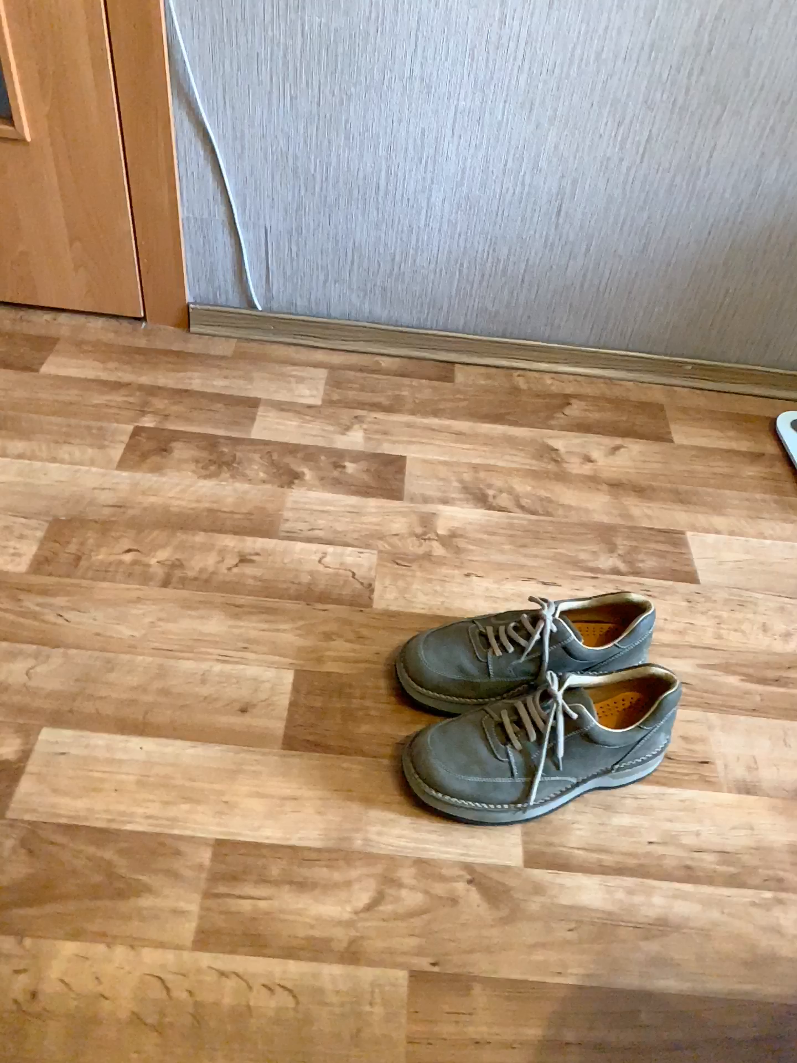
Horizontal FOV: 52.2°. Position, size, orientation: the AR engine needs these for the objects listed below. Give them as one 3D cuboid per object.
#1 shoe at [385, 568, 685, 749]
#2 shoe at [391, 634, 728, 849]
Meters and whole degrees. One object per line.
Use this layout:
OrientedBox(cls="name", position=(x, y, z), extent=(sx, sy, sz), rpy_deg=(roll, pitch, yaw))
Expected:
OrientedBox(cls="shoe", position=(0.143, 0.139, 0.912), extent=(0.290, 0.119, 0.120), rpy_deg=(-5, 45, -13))
OrientedBox(cls="shoe", position=(0.153, 0.205, 0.815), extent=(0.290, 0.110, 0.120), rpy_deg=(-7, 46, -15))
